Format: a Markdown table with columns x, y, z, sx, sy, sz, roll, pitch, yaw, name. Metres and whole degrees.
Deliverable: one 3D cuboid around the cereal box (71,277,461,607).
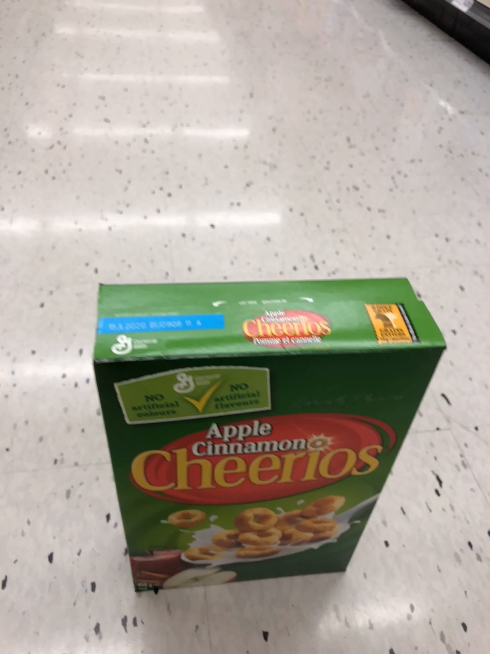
| x | y | z | sx | sy | sz | roll | pitch | yaw | name |
| --- | --- | --- | --- | --- | --- | --- | --- | --- | --- |
| 0.001 | 0.097 | 0.377 | 0.190 | 0.278 | 0.060 | -3 | 43 | -8 | cereal box |
